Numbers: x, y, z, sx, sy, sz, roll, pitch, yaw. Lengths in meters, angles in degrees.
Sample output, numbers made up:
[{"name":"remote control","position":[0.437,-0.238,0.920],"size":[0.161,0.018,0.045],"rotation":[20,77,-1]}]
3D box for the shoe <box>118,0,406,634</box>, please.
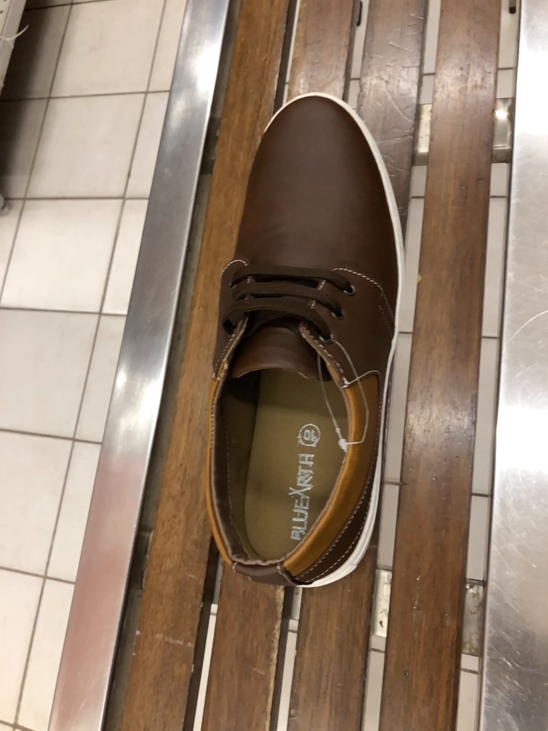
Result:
[{"name":"shoe","position":[0.010,-0.034,0.342],"size":[0.109,0.115,0.312],"rotation":[0,77,18]}]
